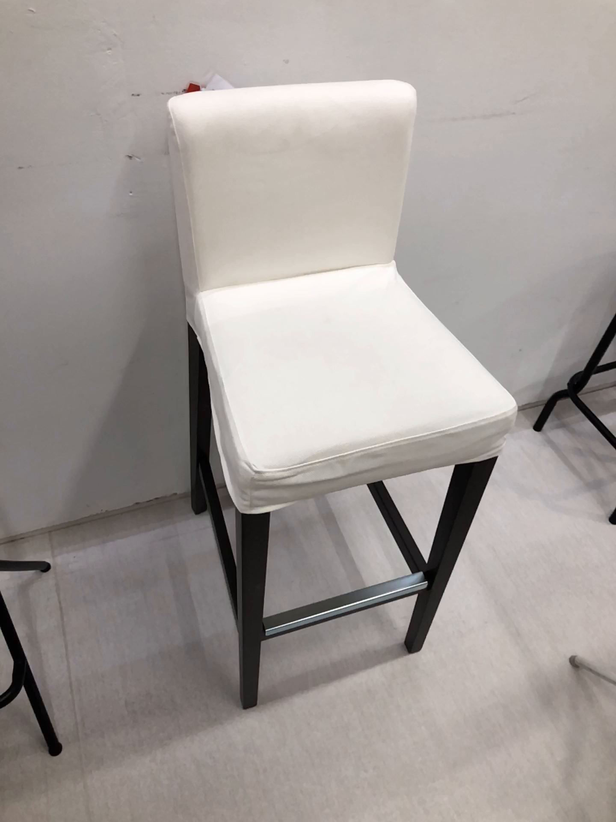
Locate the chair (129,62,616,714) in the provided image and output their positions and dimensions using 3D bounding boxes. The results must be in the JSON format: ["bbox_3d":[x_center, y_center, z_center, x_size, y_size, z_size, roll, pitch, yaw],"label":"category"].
[{"bbox_3d":[0.032,-0.003,1.100,0.440,0.854,0.533,-13,48,-16],"label":"chair"}]
